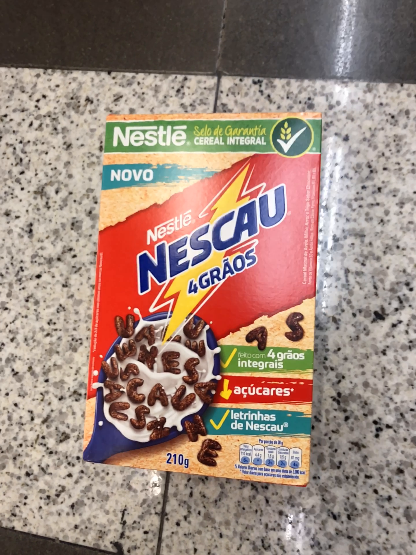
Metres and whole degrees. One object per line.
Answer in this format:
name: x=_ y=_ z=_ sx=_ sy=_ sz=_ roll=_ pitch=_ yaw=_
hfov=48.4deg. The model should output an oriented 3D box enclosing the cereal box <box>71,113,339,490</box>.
cereal box: x=0.000 y=0.011 z=0.334 sx=0.170 sy=0.050 sz=0.240 roll=2 pitch=86 yaw=9
